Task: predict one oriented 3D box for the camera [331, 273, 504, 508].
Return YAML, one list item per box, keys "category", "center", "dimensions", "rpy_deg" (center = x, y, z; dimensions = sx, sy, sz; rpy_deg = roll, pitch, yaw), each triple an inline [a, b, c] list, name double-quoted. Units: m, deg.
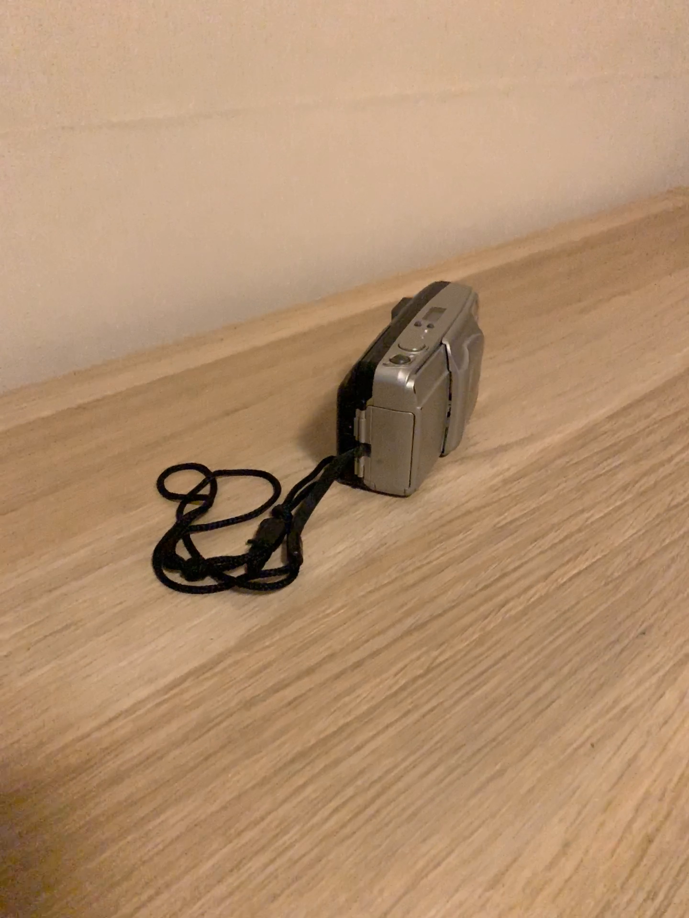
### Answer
- category: "camera"
  center: [0.039, -0.040, 0.347]
  dimensions: [0.046, 0.059, 0.127]
  rpy_deg: [12, 34, 18]
